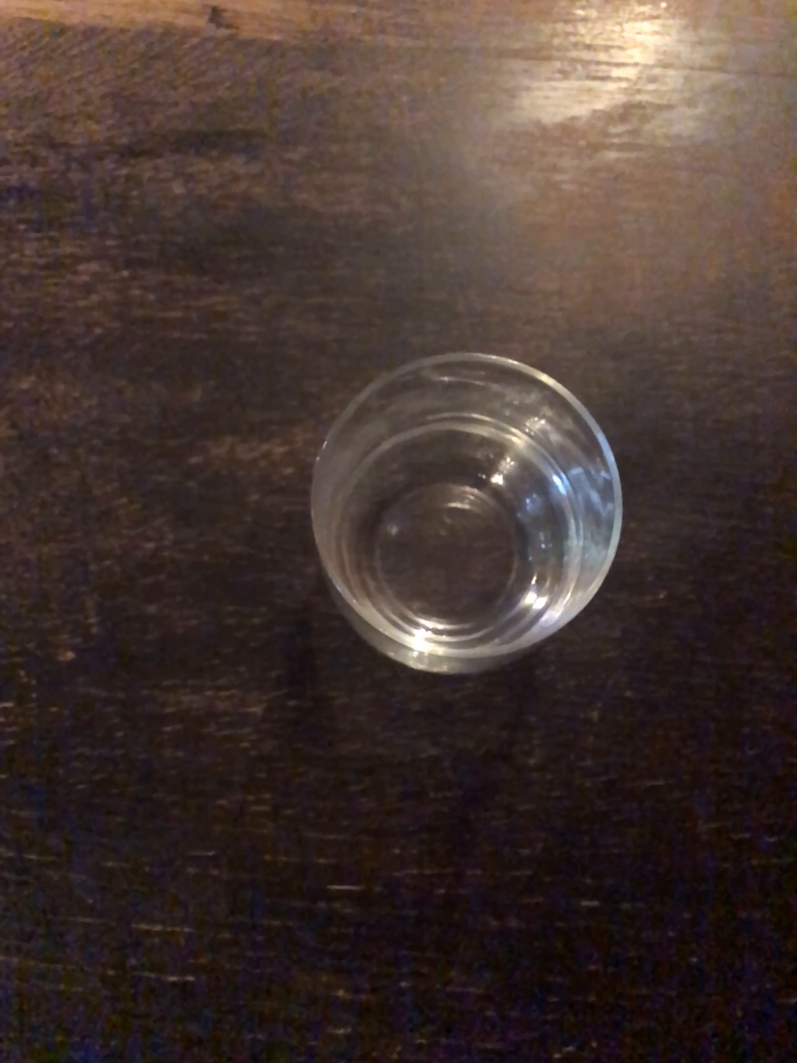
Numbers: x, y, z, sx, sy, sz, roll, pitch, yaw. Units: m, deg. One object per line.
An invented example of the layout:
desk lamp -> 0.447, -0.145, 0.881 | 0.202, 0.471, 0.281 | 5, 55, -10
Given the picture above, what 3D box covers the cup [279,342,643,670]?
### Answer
cup -> 0.013, 0.000, 0.241 | 0.077, 0.084, 0.070 | 0, 80, 0
